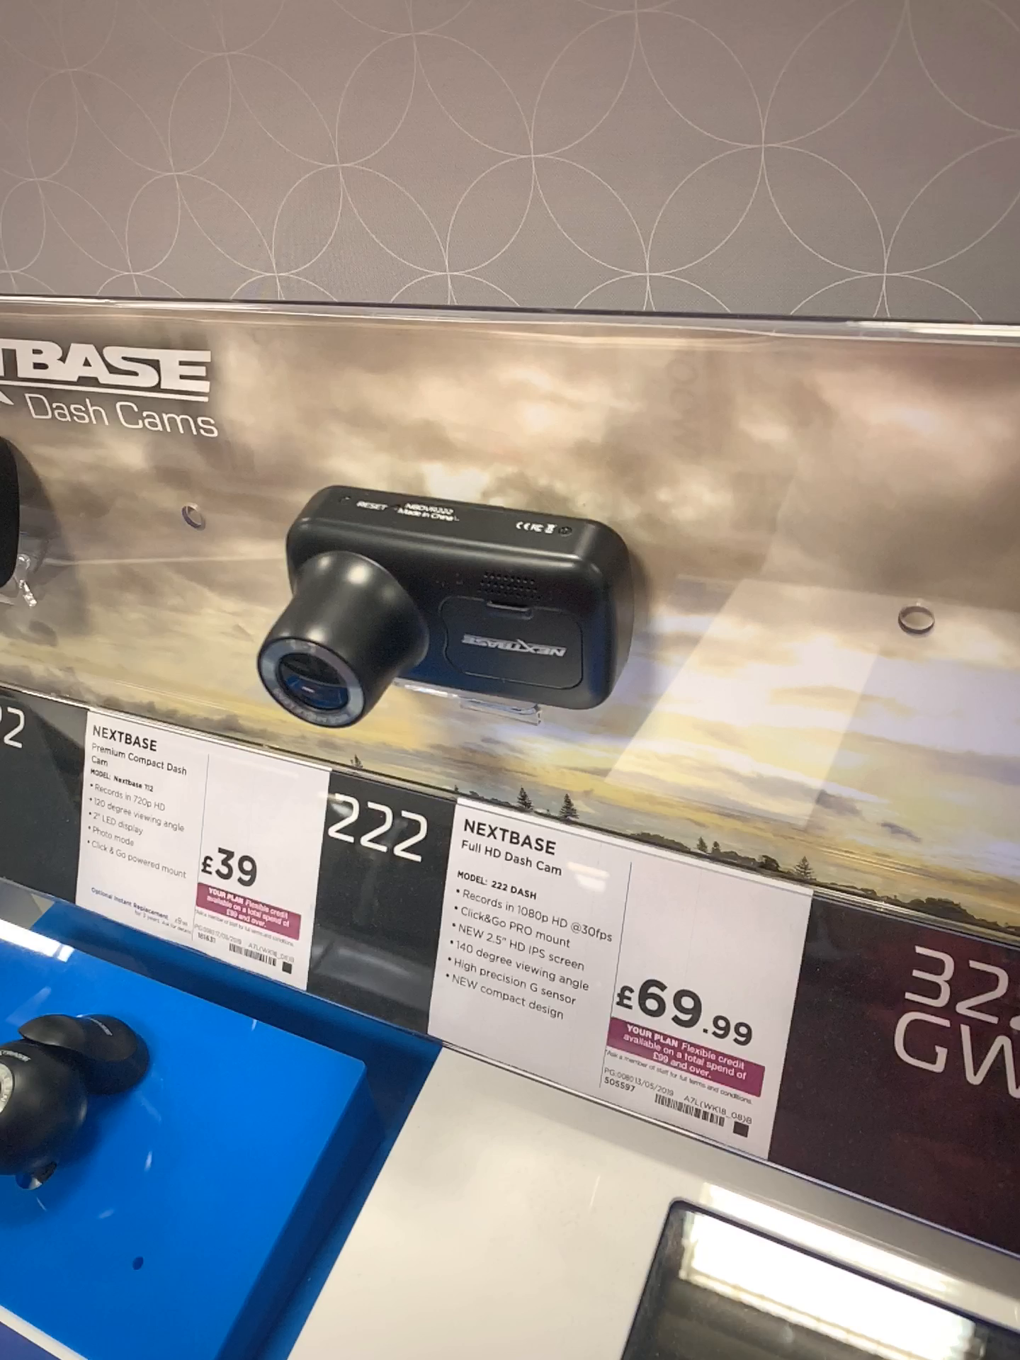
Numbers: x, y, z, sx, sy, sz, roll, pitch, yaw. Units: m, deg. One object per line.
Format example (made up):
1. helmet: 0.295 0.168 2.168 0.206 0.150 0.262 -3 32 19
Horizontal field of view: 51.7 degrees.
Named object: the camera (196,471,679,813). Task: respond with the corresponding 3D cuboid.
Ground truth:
1. camera: -0.013 -0.012 0.236 0.090 0.040 0.050 12 43 23
